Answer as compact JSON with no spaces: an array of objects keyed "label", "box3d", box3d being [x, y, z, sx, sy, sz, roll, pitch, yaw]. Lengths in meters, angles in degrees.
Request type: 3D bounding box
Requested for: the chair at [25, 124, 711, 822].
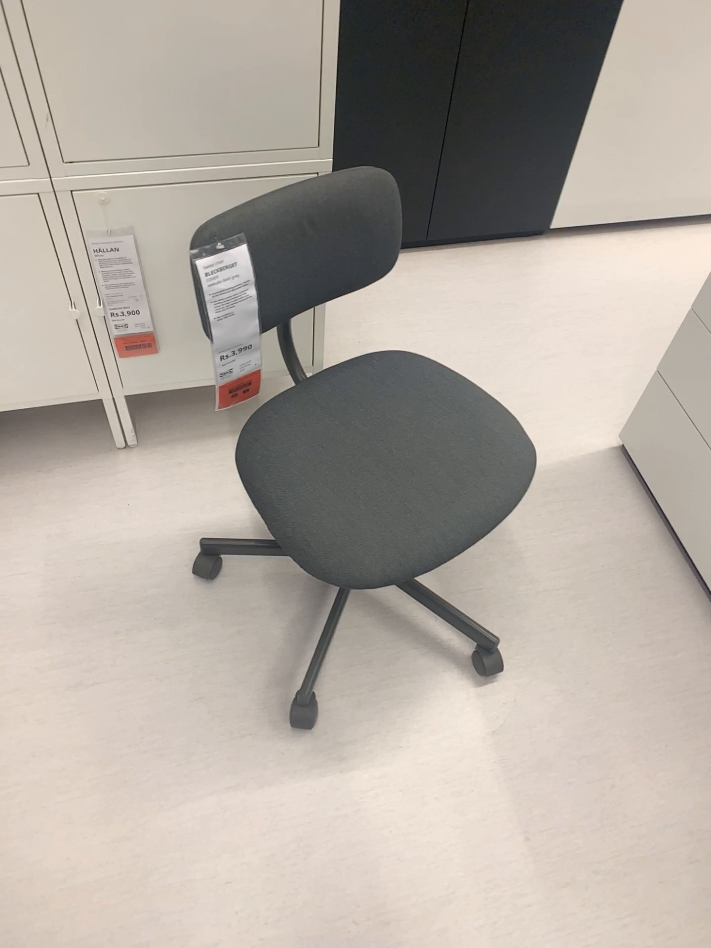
[{"label":"chair","box3d":[0.018,-0.020,1.231,0.721,0.678,0.711,-26,59,-23]}]
